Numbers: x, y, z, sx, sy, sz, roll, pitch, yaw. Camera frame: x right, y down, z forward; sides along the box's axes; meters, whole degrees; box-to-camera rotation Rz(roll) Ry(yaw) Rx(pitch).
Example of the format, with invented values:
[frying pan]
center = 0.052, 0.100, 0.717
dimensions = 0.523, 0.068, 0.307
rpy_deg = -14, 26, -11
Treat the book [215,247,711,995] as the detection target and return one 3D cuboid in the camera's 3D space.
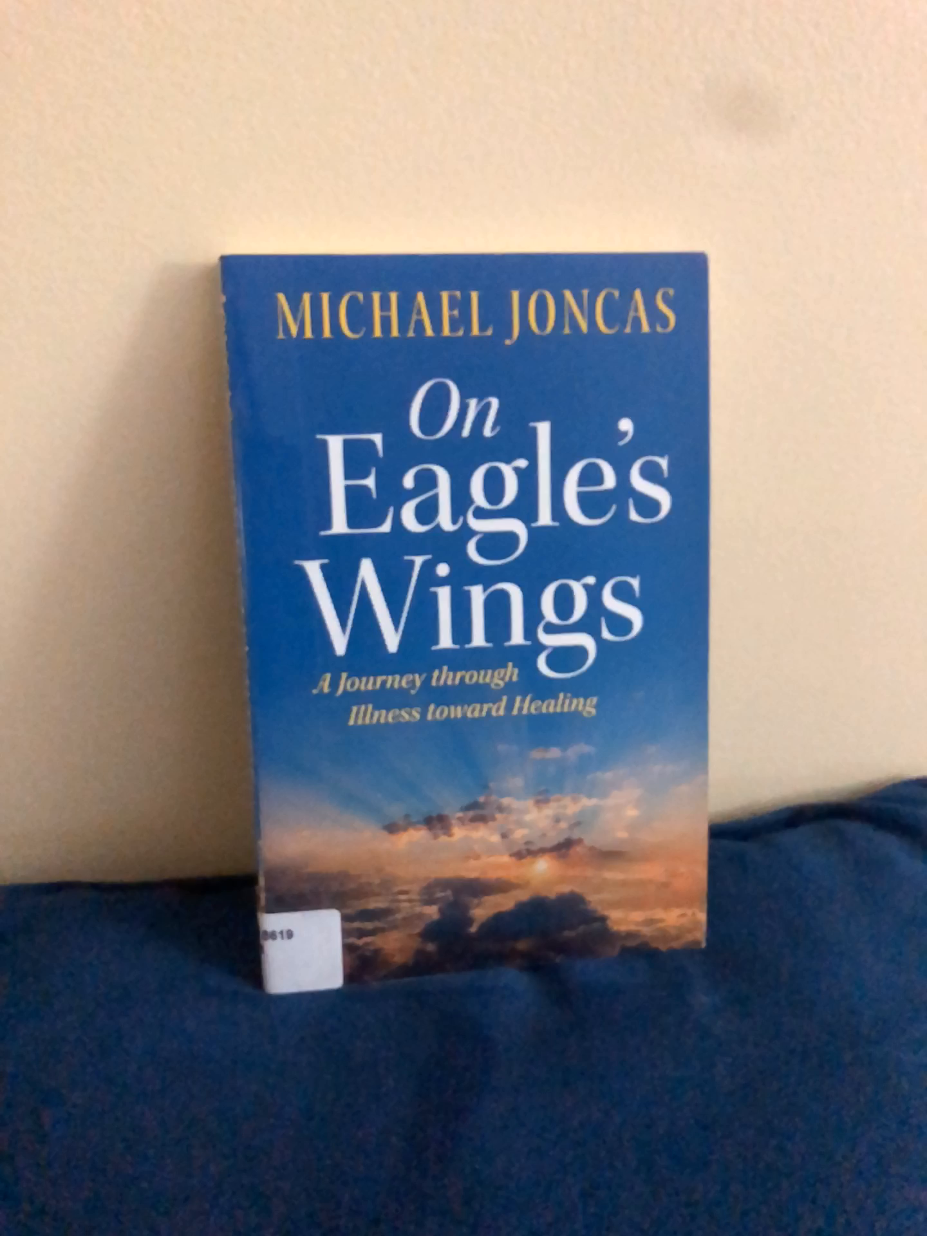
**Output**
[book]
center = 0.004, 0.001, 0.308
dimensions = 0.139, 0.210, 0.014
rpy_deg = -3, 7, -9
